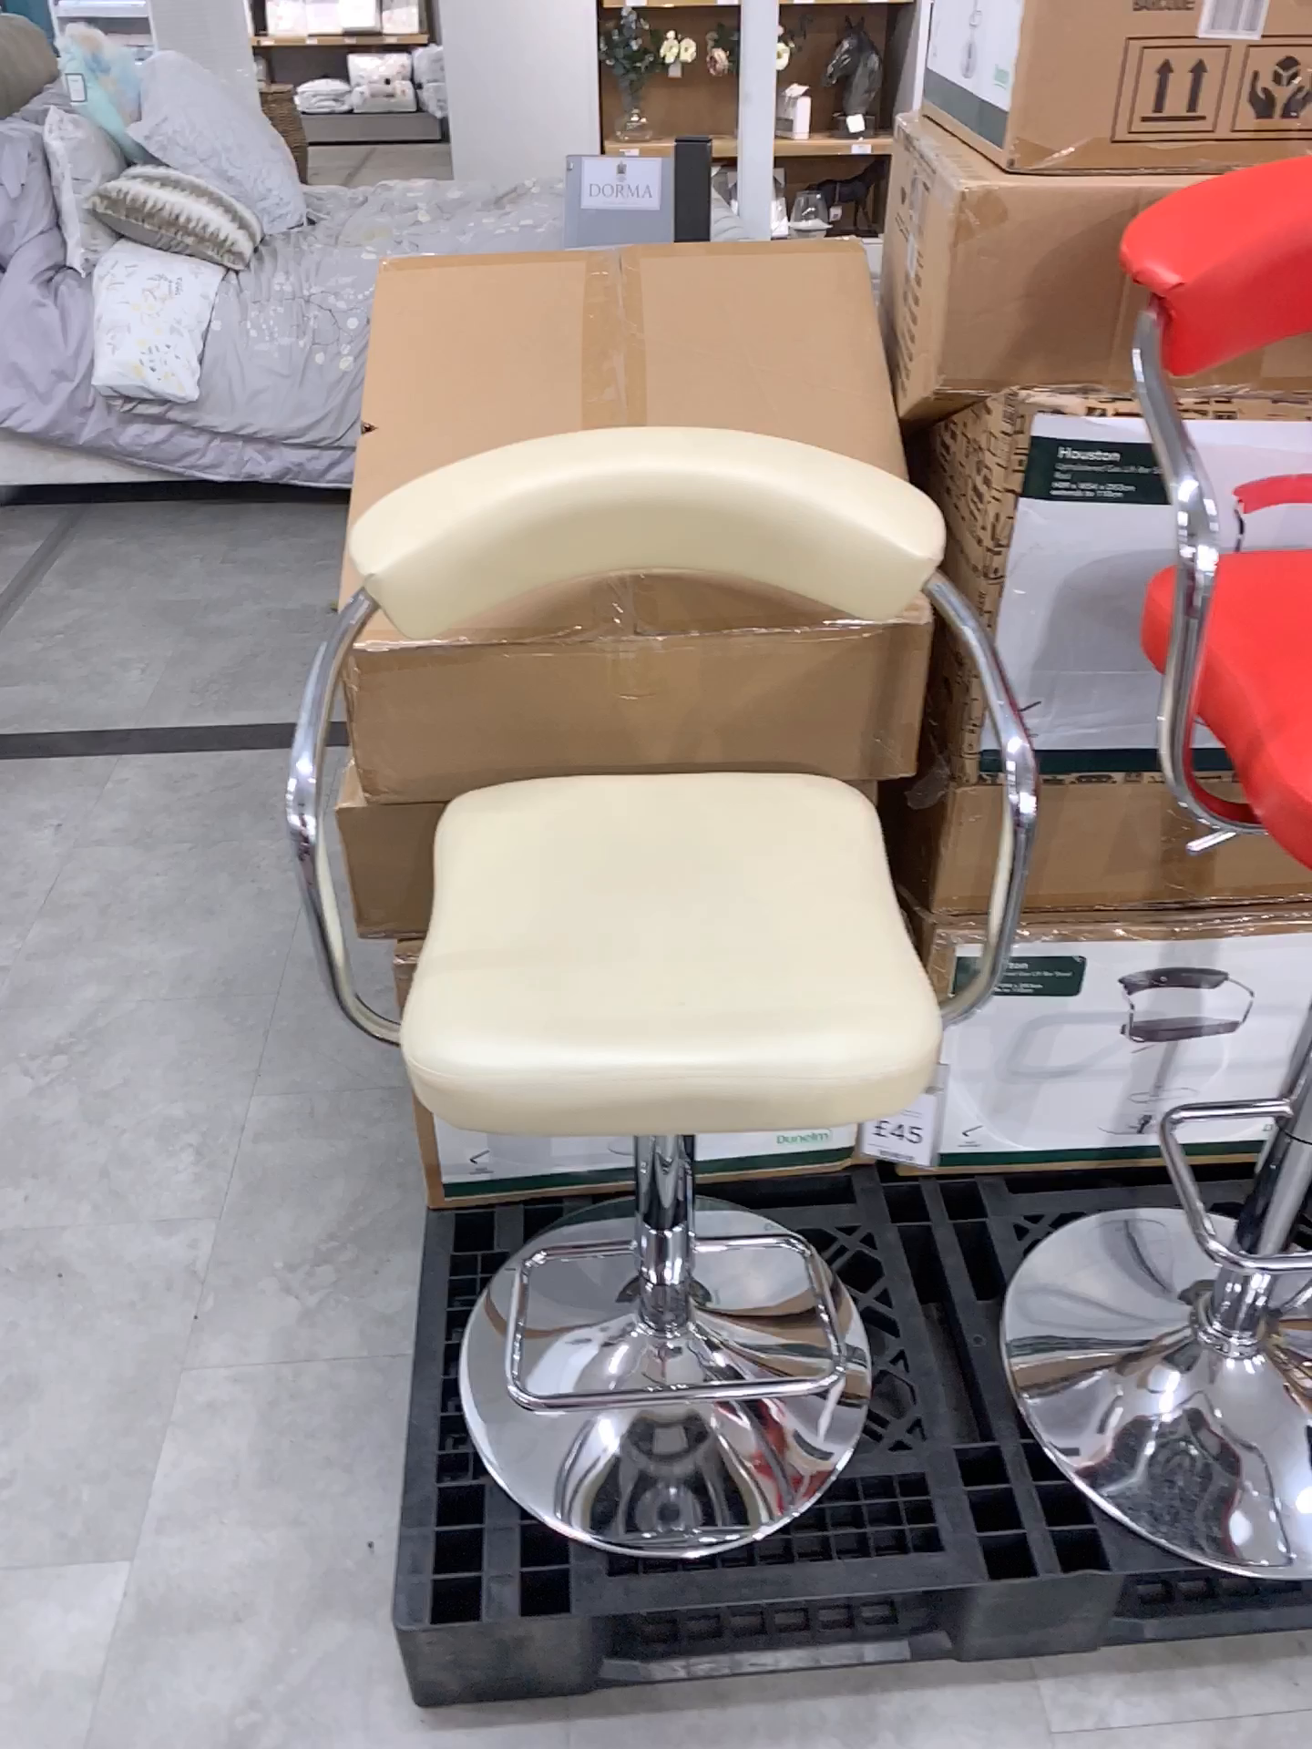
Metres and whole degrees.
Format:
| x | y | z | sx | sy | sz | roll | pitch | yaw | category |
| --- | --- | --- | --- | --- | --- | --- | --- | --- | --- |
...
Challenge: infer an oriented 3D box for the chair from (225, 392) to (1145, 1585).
| x | y | z | sx | sy | sz | roll | pitch | yaw | category |
| --- | --- | --- | --- | --- | --- | --- | --- | --- | --- |
| 0.008 | 0.105 | 1.116 | 0.464 | 0.841 | 0.504 | -2 | 34 | -2 | chair |

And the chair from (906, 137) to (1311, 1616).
| x | y | z | sx | sy | sz | roll | pitch | yaw | category |
| --- | --- | --- | --- | --- | --- | --- | --- | --- | --- |
| 0.542 | 0.043 | 1.076 | 0.474 | 1.058 | 0.524 | -2 | 34 | -2 | chair |
